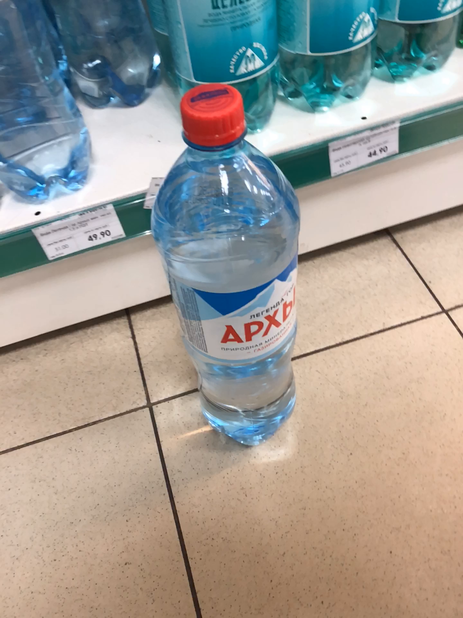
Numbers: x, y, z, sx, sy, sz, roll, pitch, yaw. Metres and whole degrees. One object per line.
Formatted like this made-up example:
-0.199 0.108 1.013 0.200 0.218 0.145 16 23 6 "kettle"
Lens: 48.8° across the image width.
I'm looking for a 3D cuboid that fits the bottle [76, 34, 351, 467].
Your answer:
0.004 -0.004 0.356 0.094 0.306 0.085 -3 54 4 "bottle"
